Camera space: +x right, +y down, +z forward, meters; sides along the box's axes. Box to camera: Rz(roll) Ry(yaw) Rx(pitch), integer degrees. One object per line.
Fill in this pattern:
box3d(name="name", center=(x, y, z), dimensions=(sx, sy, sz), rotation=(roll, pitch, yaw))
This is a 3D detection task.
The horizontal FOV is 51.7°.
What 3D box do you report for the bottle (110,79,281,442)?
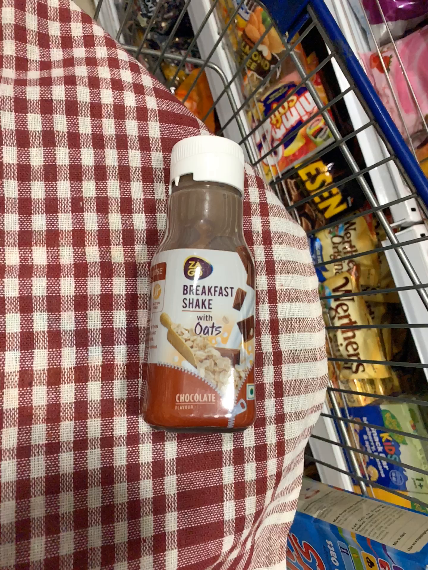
box3d(name="bottle", center=(-0.010, -0.008, 0.212), dimensions=(0.060, 0.050, 0.150), rotation=(6, 82, -15))
